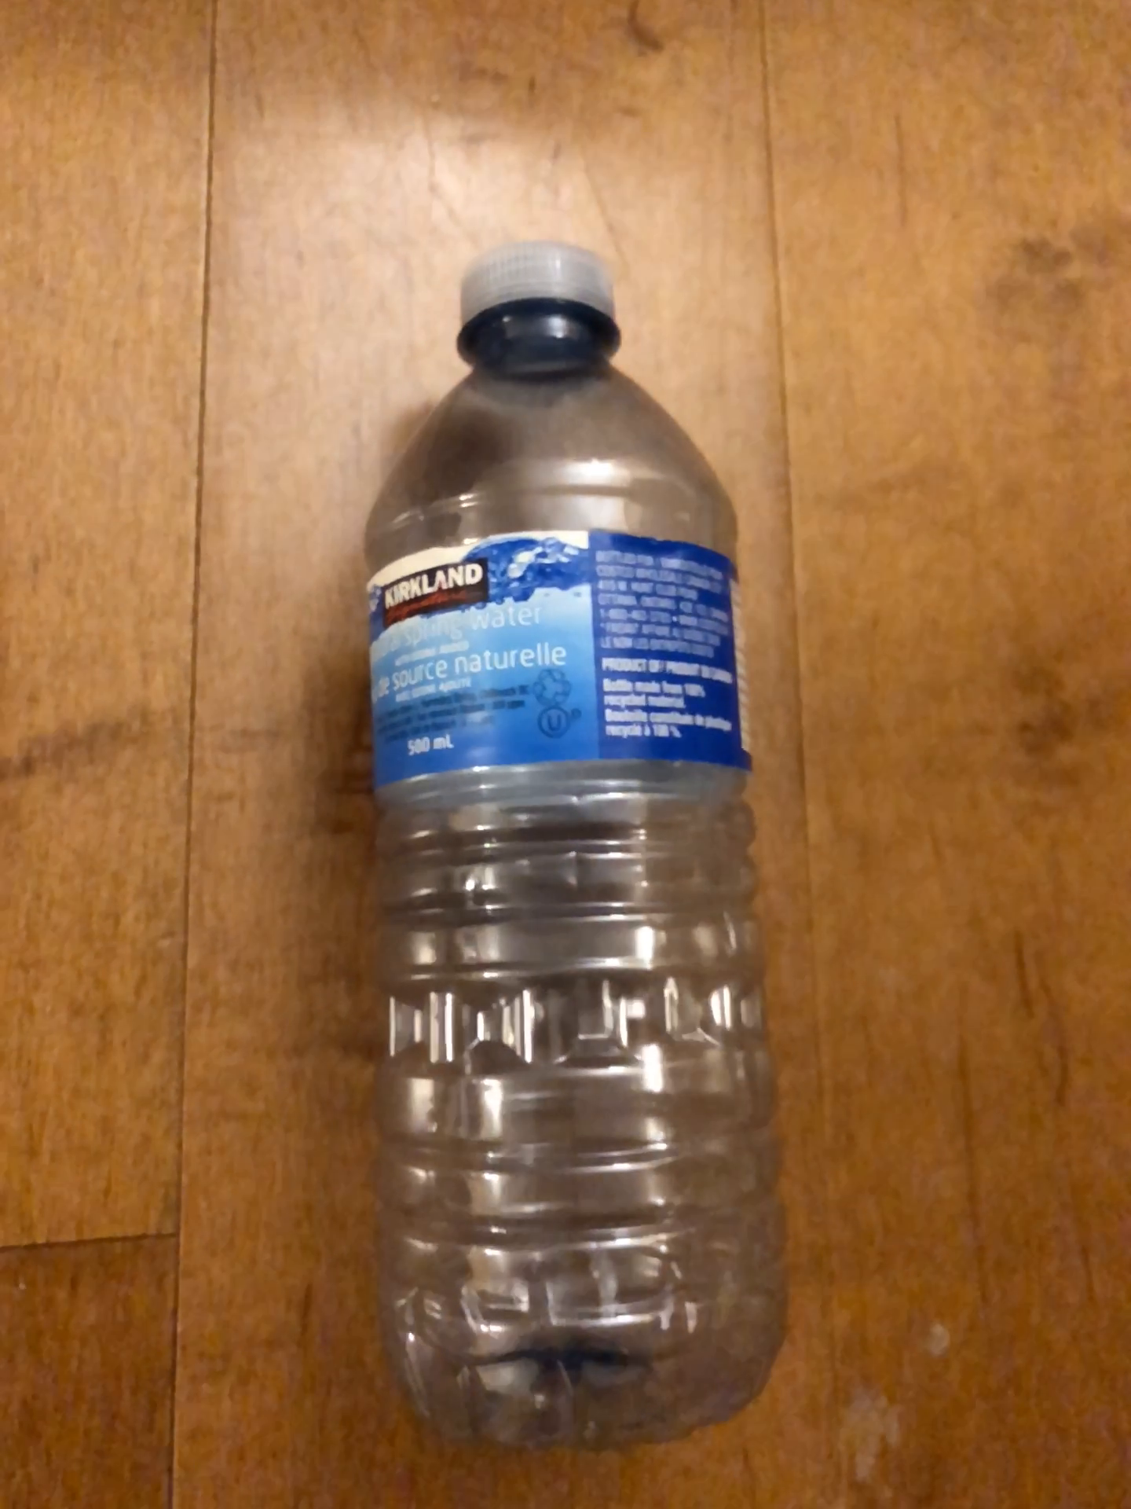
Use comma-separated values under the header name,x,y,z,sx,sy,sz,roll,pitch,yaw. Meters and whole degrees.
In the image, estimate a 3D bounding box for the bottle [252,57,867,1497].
name,x,y,z,sx,sy,sz,roll,pitch,yaw
bottle,-0.003,0.002,0.220,0.070,0.070,0.200,15,69,-58
